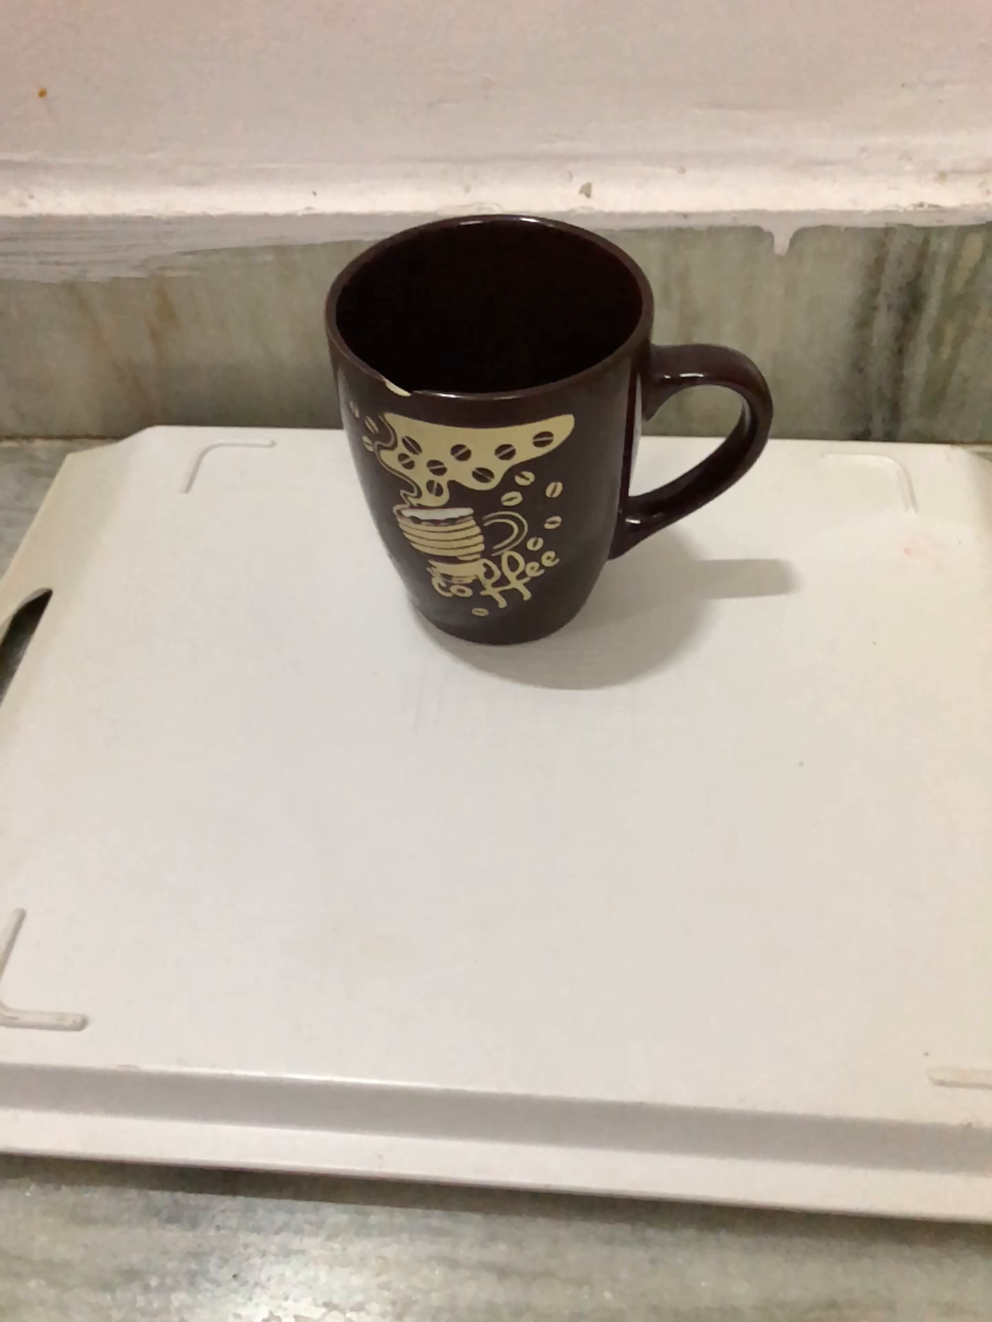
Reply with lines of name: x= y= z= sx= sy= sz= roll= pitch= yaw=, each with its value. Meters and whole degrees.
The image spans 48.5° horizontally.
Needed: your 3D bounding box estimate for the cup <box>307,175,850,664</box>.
cup: x=0.017 y=-0.064 z=0.302 sx=0.120 sy=0.099 sz=0.070 roll=-5 pitch=48 yaw=-2
